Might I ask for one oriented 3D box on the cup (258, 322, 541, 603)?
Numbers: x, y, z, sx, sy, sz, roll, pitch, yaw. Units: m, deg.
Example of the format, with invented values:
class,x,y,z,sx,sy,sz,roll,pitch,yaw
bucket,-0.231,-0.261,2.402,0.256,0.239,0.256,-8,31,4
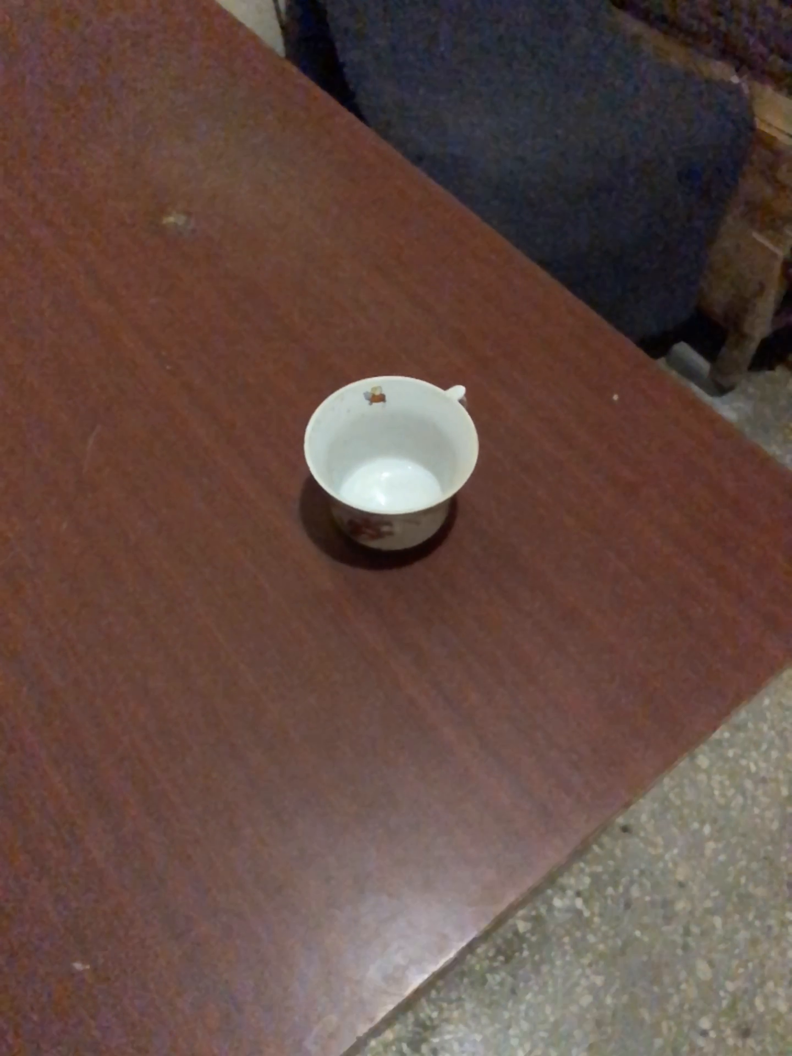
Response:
class,x,y,z,sx,sy,sz,roll,pitch,yaw
cup,0.002,-0.038,0.482,0.100,0.059,0.110,39,65,21
